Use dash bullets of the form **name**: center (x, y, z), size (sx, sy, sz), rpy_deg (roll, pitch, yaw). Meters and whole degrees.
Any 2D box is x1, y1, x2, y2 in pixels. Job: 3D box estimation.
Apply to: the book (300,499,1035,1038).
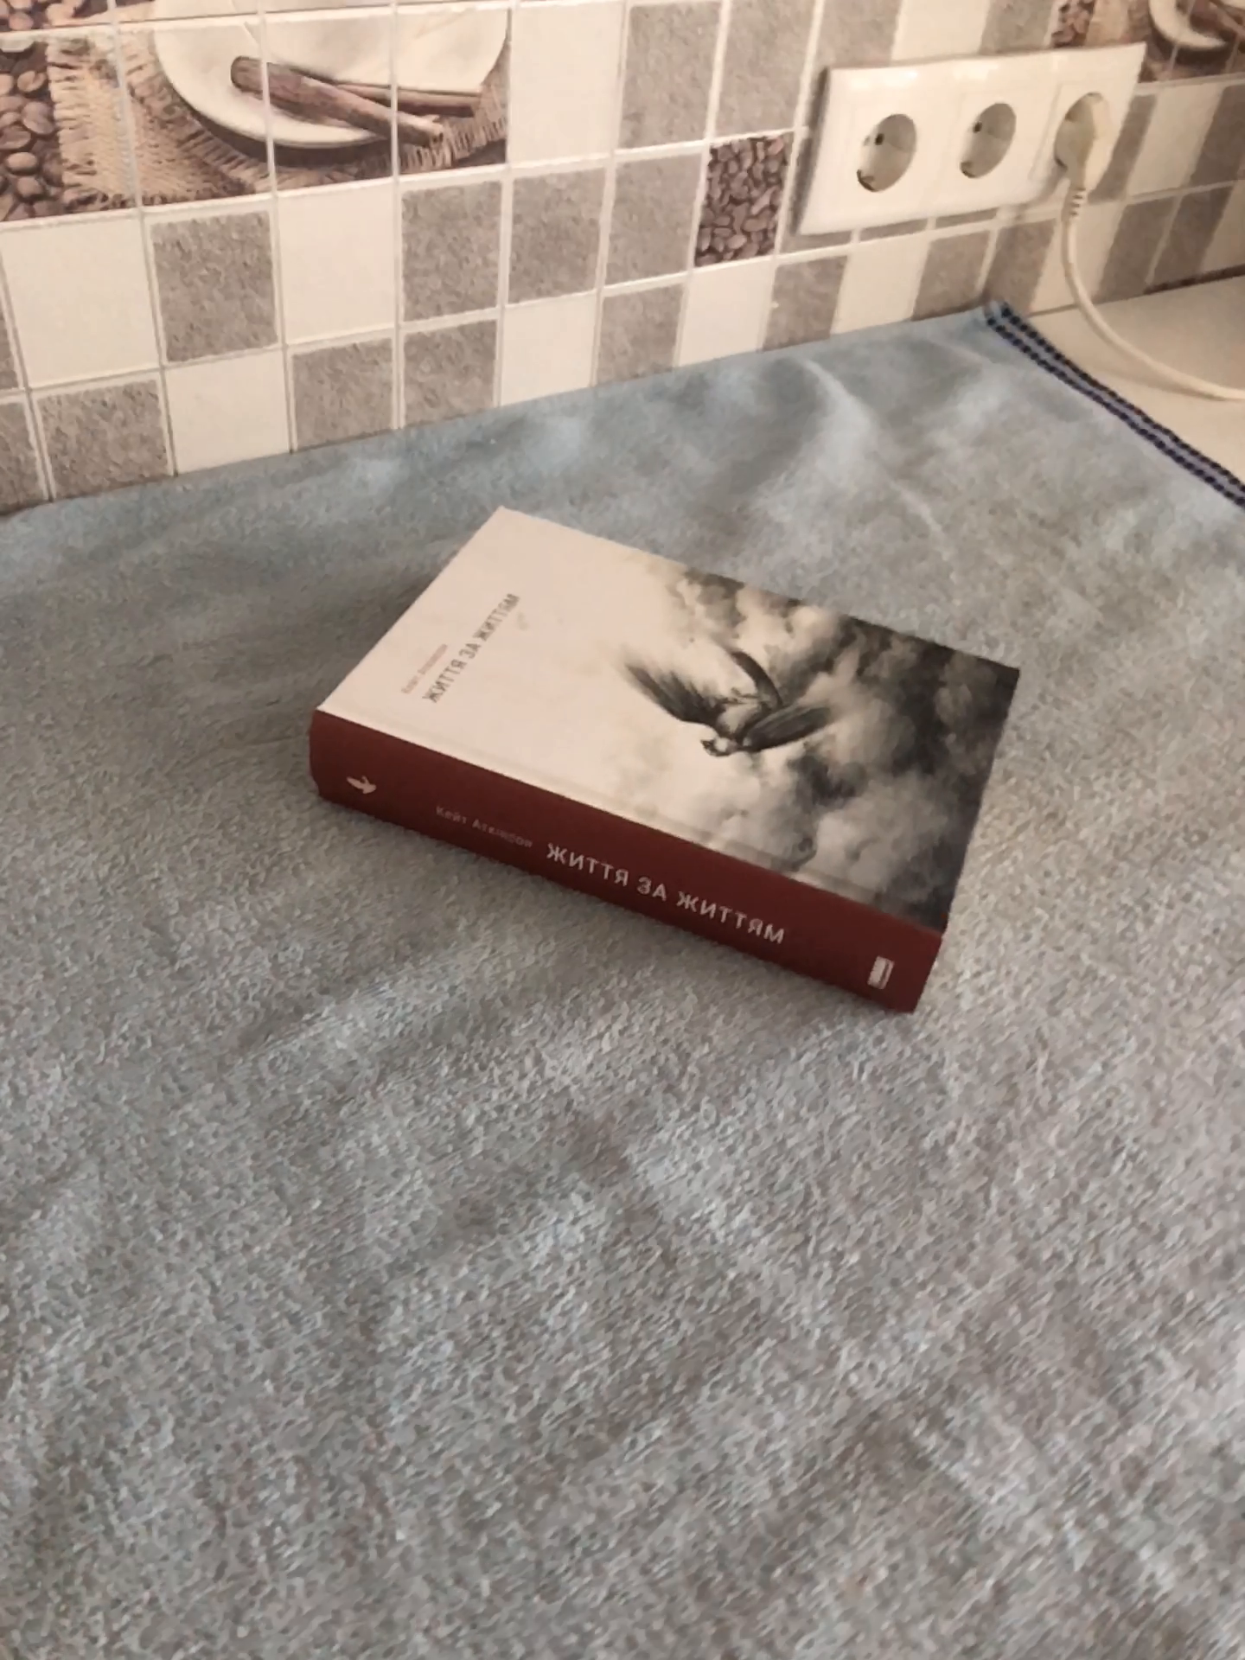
- **book**: center (0.023, -0.034, 0.492), size (0.220, 0.040, 0.156), rpy_deg (20, 45, 10)
